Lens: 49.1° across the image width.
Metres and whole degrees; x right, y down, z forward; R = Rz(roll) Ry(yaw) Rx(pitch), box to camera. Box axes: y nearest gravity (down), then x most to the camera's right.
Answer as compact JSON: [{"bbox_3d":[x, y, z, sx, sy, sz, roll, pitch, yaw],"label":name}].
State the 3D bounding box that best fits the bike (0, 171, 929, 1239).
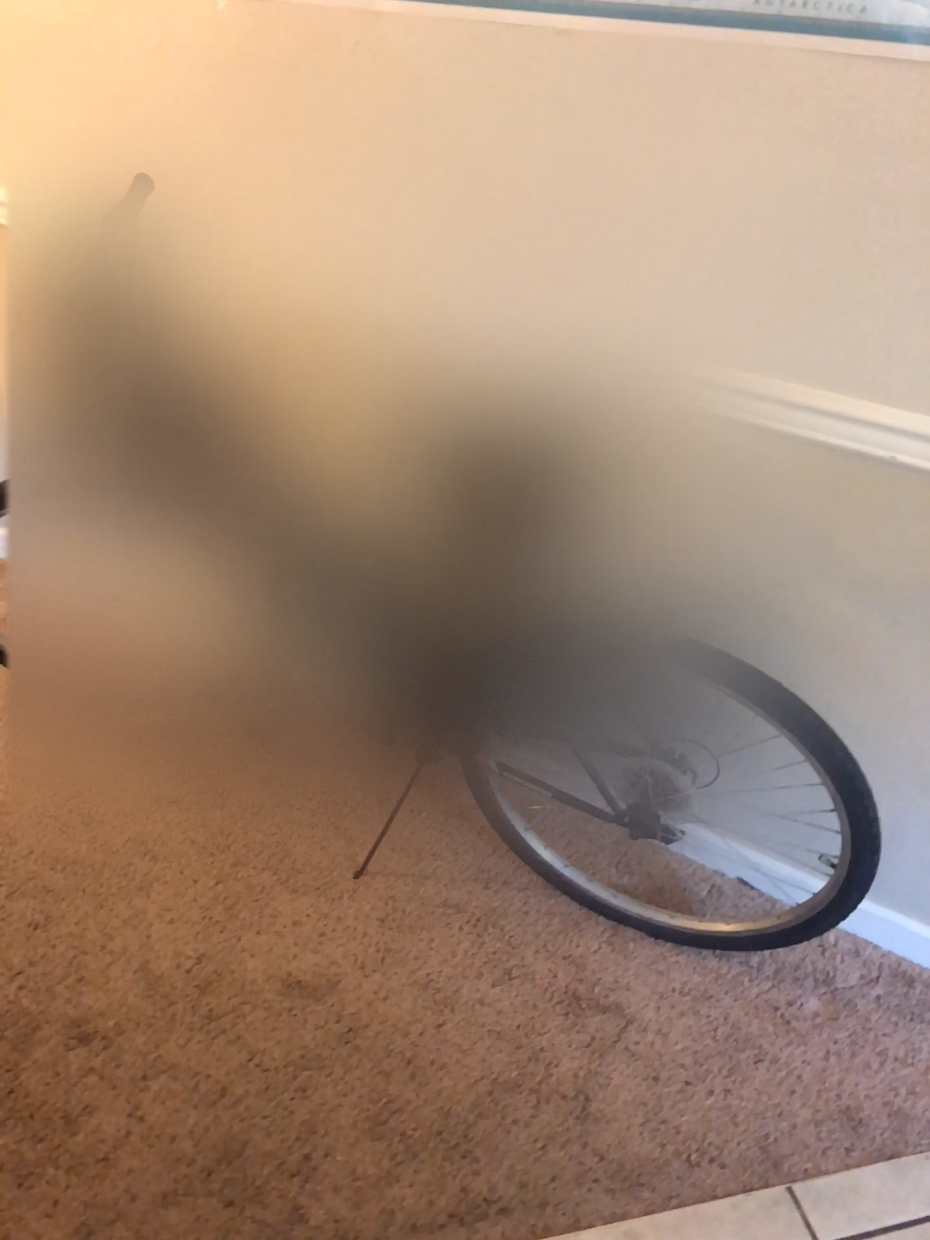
[{"bbox_3d":[-0.232,0.032,1.713,1.865,1.177,0.682,15,33,16],"label":"bike"}]
